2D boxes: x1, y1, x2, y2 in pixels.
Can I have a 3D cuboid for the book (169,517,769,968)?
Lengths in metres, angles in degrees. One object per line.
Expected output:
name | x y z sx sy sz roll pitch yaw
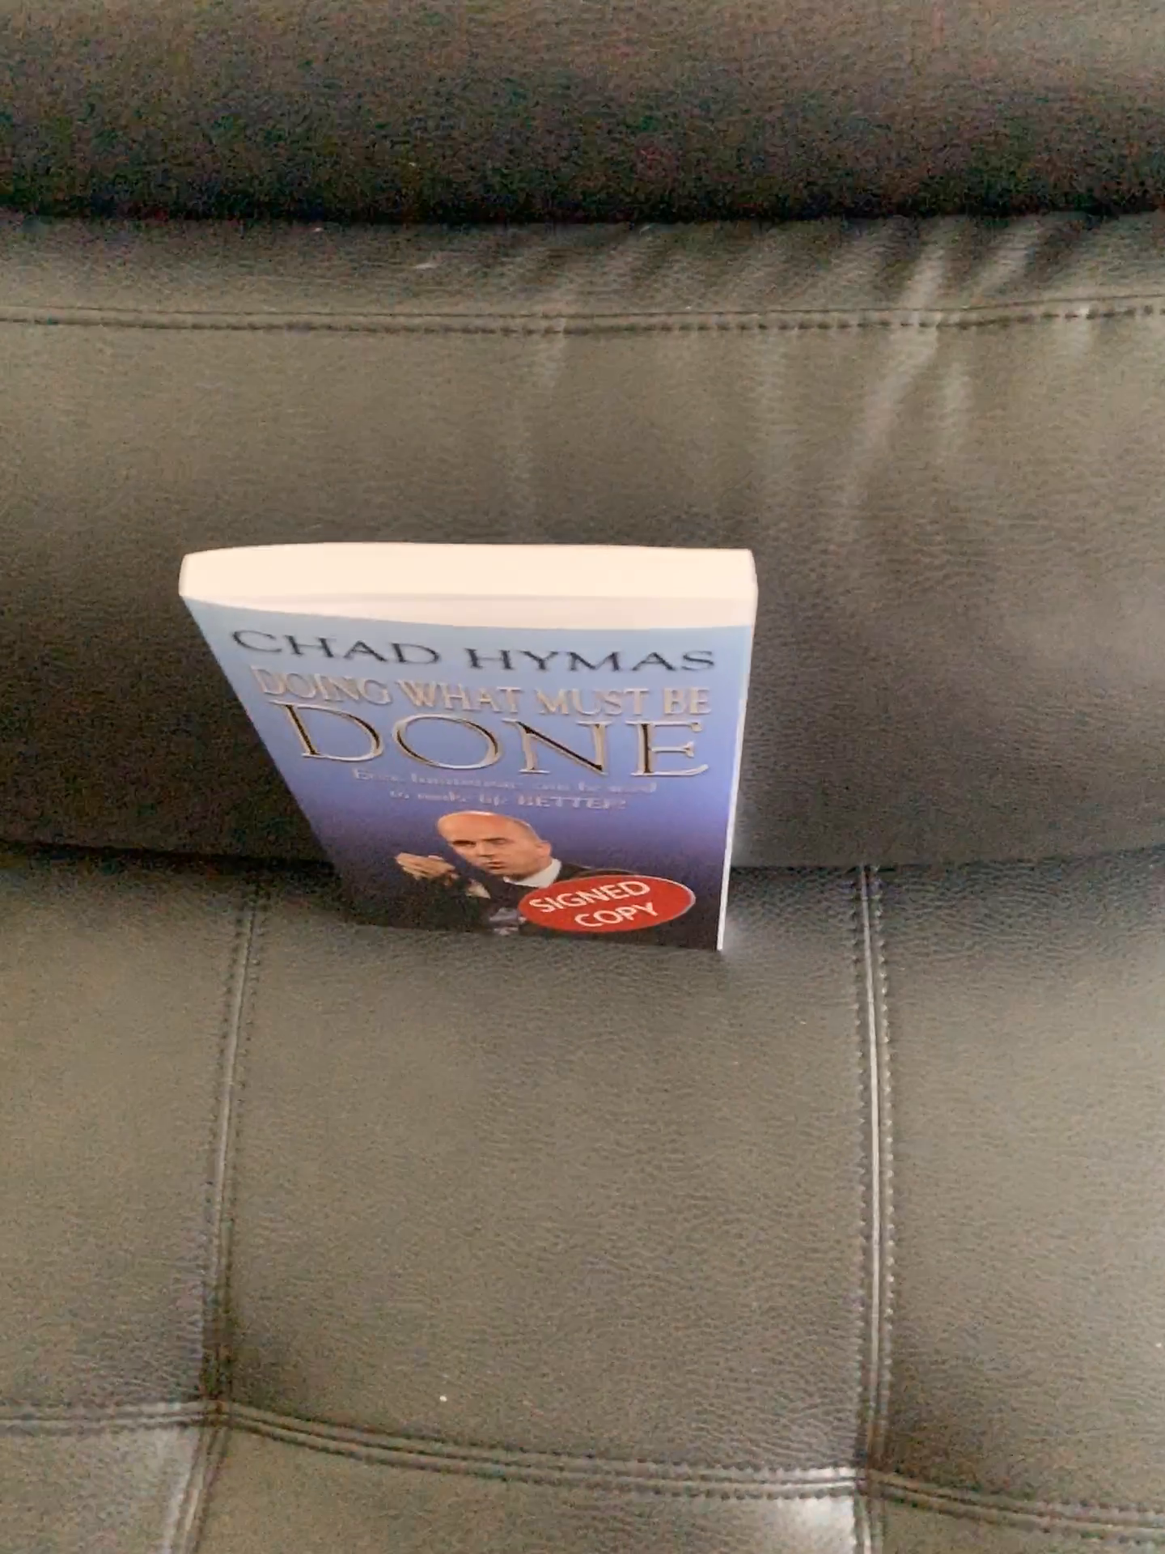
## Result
book | -0.025 0.004 0.411 0.156 0.226 0.025 5 59 6
